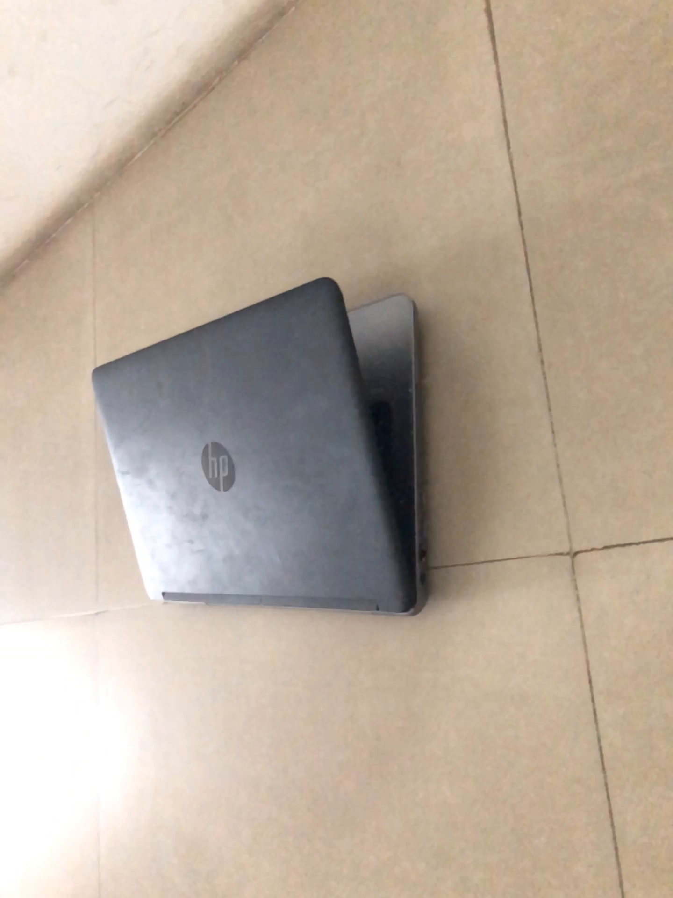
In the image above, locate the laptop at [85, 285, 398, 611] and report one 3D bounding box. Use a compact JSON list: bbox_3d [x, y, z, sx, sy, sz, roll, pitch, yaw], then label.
[{"bbox_3d":[-0.099,0.018,0.620,0.305,0.084,0.214,-9,80,45],"label":"laptop"}]
